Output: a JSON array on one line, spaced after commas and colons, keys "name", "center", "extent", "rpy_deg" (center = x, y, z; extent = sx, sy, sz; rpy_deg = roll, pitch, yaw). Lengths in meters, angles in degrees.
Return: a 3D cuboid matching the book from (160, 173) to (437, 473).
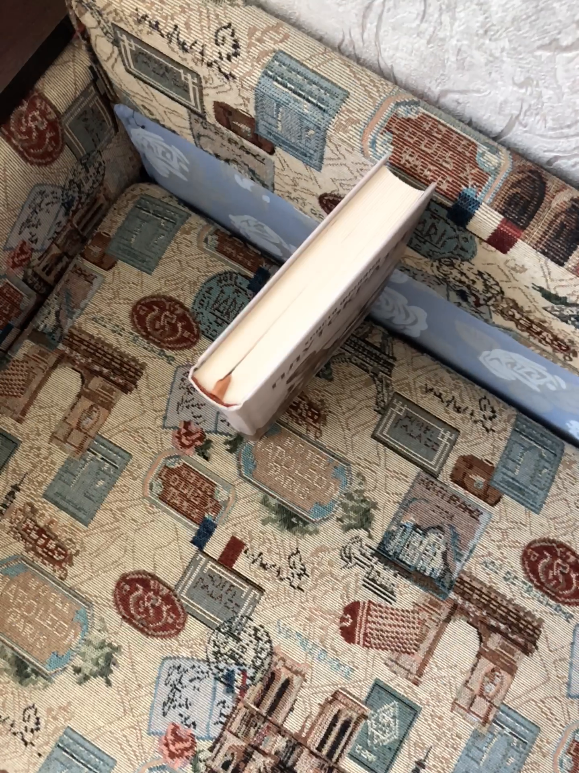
[{"name": "book", "center": [0.004, -0.020, 0.434], "extent": [0.040, 0.220, 0.170], "rpy_deg": [41, 83, 4]}]
